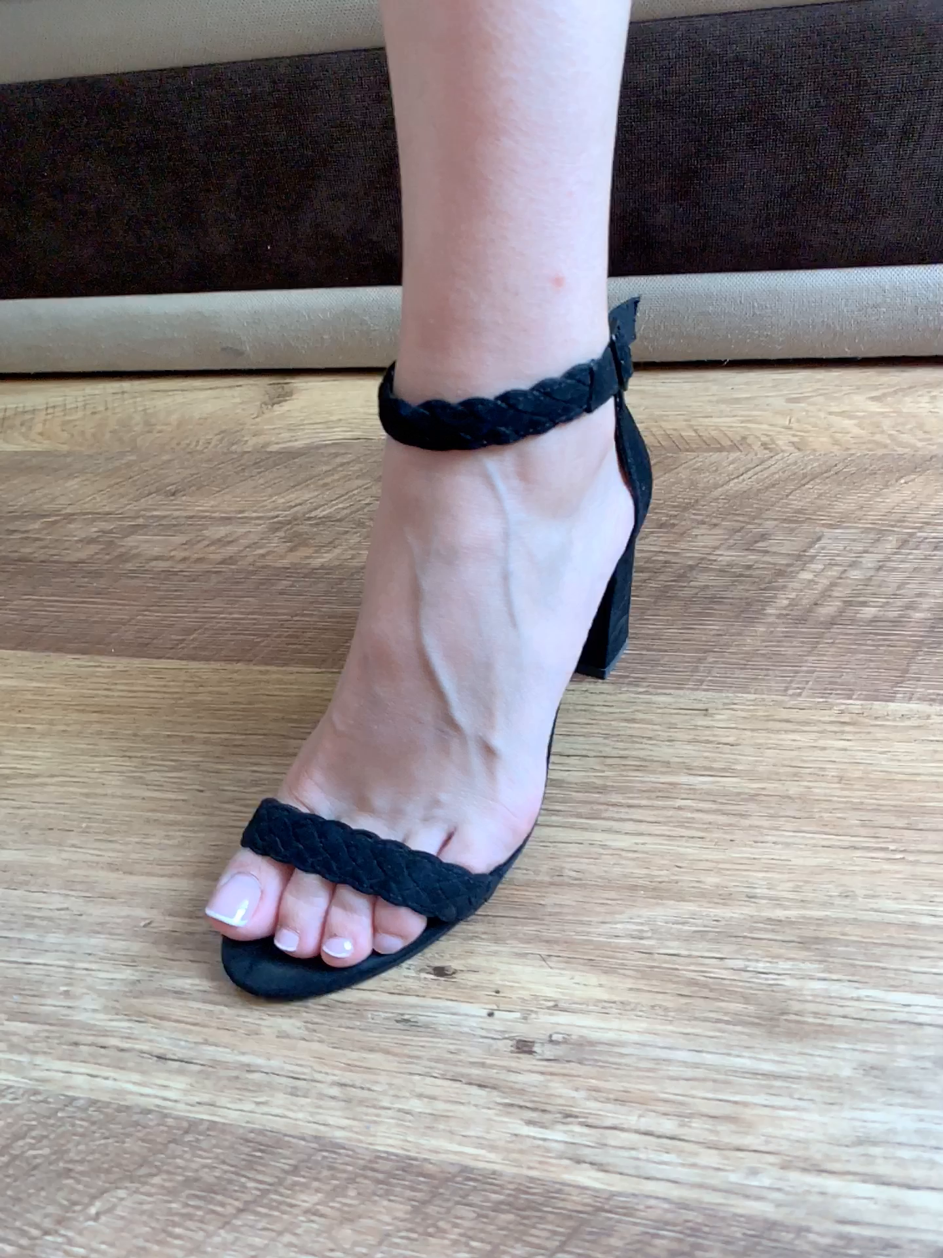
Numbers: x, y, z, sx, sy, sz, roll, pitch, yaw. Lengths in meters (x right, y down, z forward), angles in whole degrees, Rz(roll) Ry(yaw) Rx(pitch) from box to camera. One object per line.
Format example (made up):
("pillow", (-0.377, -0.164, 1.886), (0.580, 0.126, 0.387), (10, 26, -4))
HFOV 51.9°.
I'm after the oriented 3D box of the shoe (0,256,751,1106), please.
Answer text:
("shoe", (-0.007, -0.002, 0.316), (0.090, 0.149, 0.231), (22, 48, 32))
